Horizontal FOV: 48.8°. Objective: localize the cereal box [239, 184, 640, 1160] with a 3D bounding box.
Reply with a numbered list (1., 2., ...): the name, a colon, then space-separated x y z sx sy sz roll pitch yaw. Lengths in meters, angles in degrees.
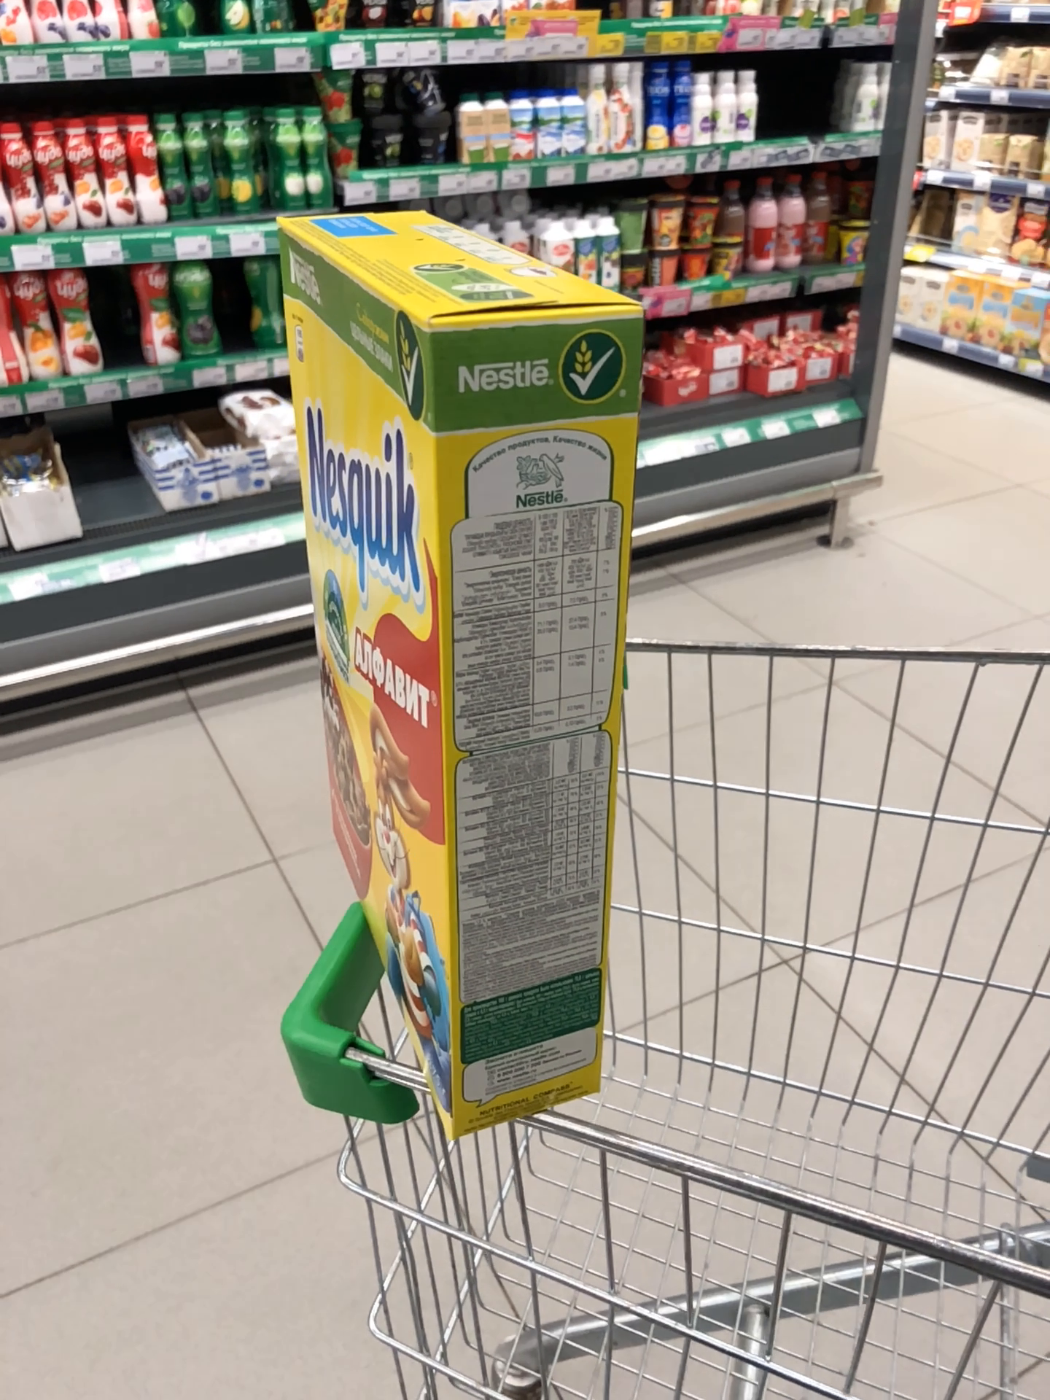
1. cereal box: -0.040 -0.018 0.420 0.060 0.288 0.201 -11 32 -19
